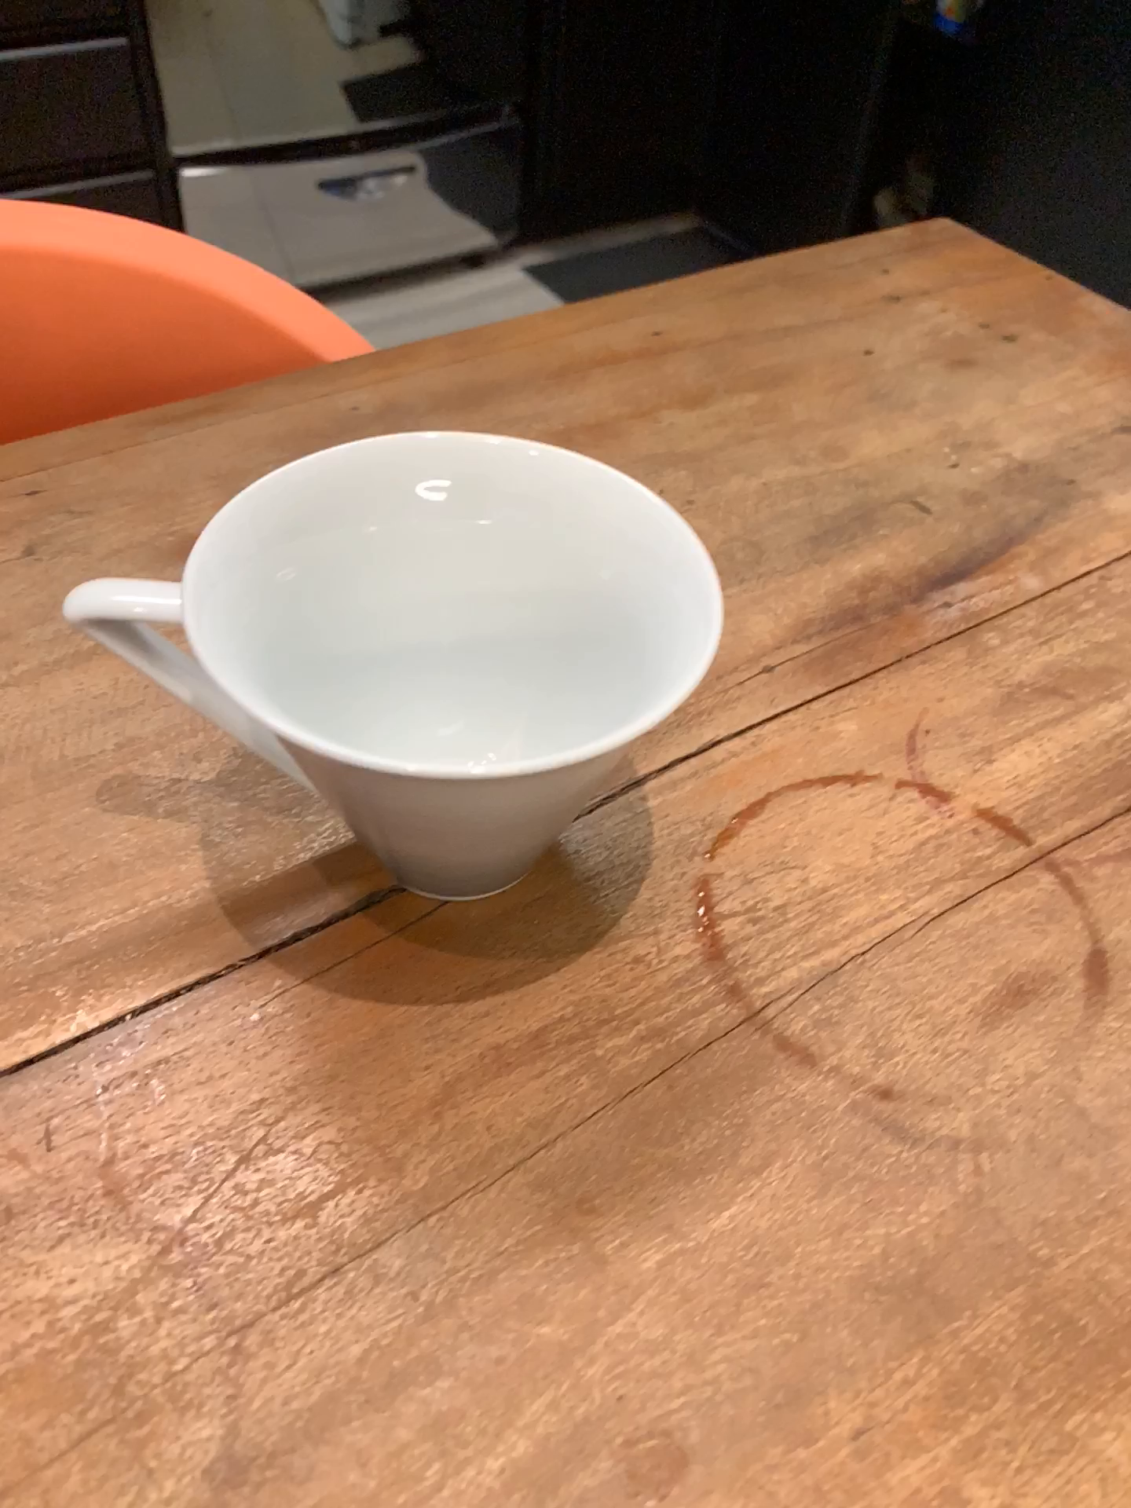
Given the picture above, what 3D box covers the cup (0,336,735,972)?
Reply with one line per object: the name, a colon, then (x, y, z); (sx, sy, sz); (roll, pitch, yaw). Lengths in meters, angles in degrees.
cup: (-0.034, -0.022, 0.219); (0.120, 0.060, 0.090); (7, 47, 2)
